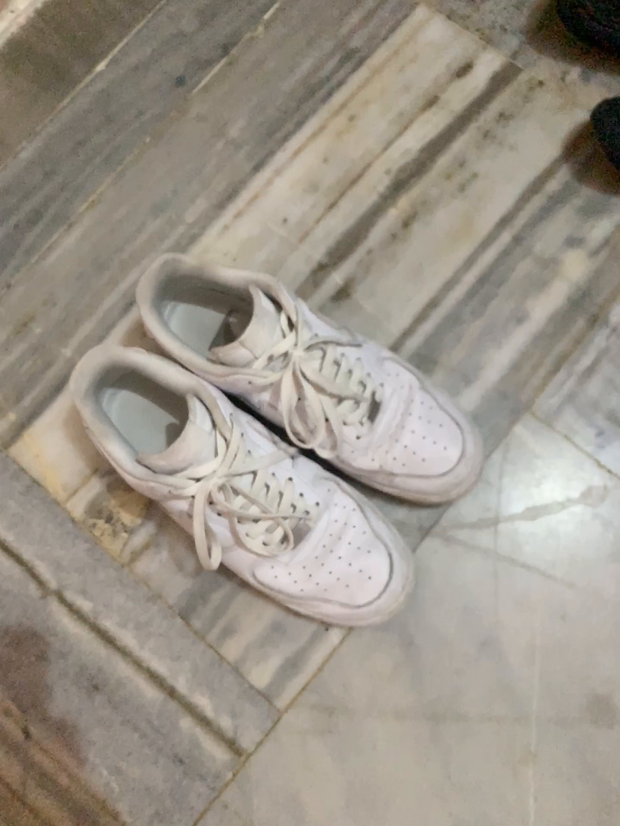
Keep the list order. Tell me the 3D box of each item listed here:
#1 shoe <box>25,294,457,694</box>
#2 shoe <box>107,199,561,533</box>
[{"bbox_3d":[-0.052,0.059,0.513,0.310,0.120,0.110,38,82,11],"label":"shoe"},{"bbox_3d":[0.015,-0.031,0.521,0.310,0.120,0.110,28,81,9],"label":"shoe"}]
